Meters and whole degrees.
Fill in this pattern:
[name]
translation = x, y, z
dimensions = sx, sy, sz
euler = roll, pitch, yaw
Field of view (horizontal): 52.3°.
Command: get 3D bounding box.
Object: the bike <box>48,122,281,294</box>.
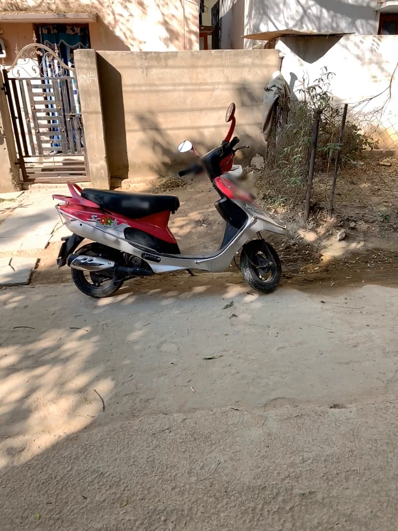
[bike]
translation = -0.193, -0.444, 3.030
dimensions = 1.494, 1.037, 0.486
euler = -5, 25, -5
